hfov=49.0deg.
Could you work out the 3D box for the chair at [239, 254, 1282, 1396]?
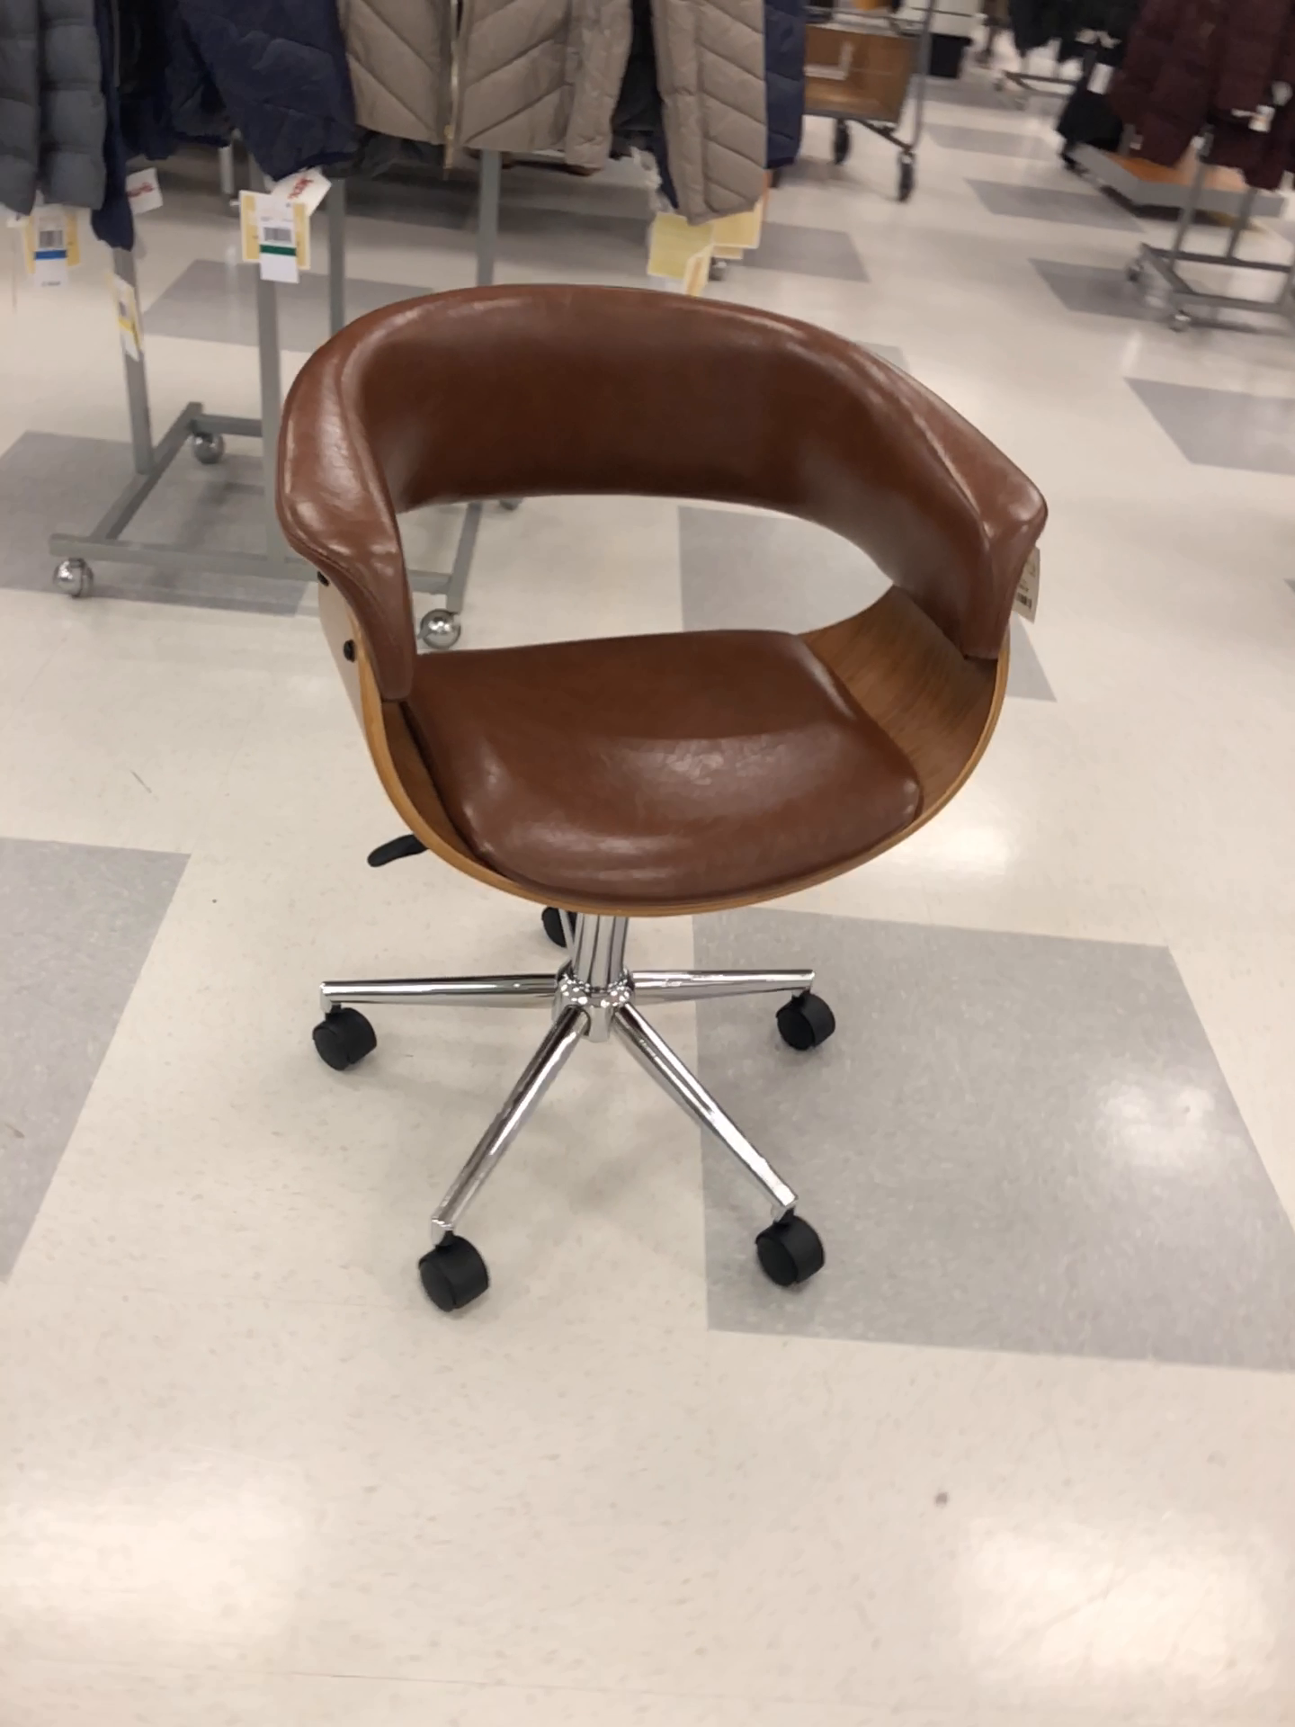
[{"bbox_3d":[-0.010,-0.071,1.257,0.589,0.696,0.629,-6,38,-19],"label":"chair"}]
